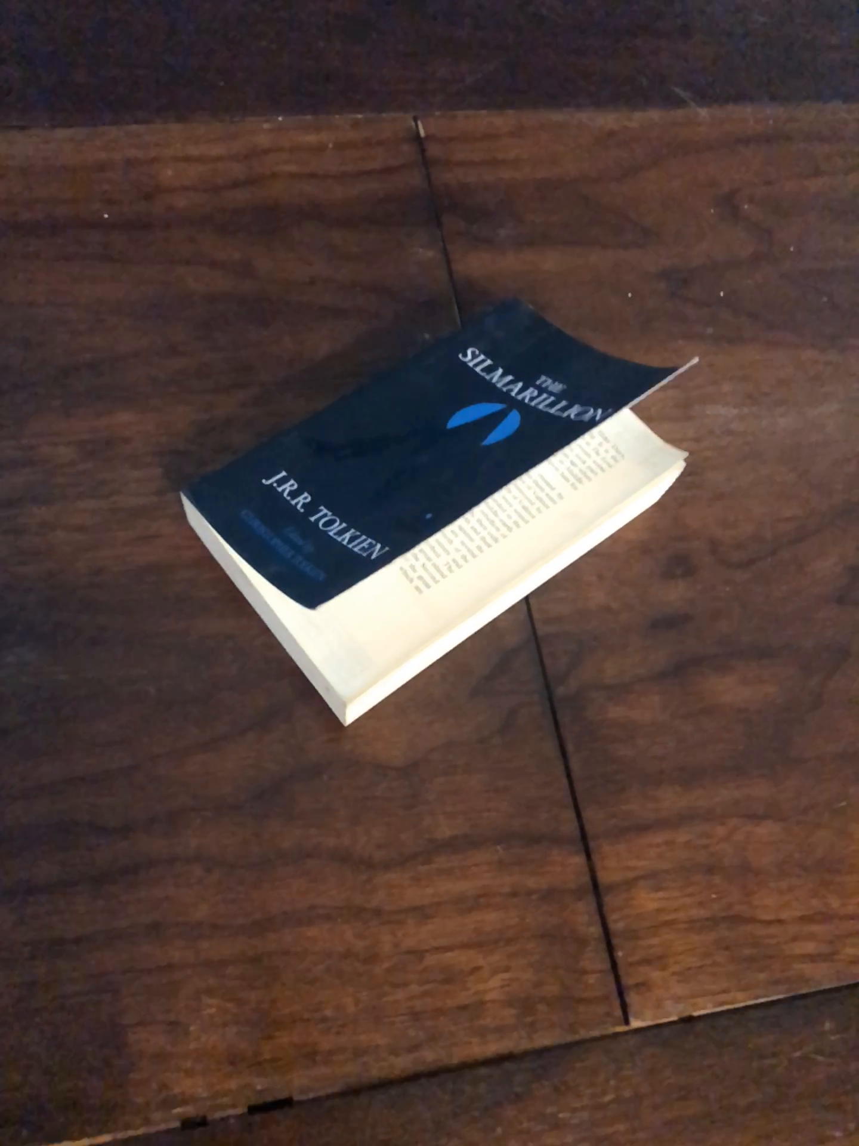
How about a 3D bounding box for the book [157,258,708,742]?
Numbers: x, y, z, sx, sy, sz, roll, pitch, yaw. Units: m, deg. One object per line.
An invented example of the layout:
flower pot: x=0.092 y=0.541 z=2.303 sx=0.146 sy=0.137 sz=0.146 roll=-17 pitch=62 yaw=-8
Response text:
book: x=0.004 y=-0.037 z=0.386 sx=0.180 sy=0.040 sz=0.119 roll=-35 pitch=74 yaw=-20
